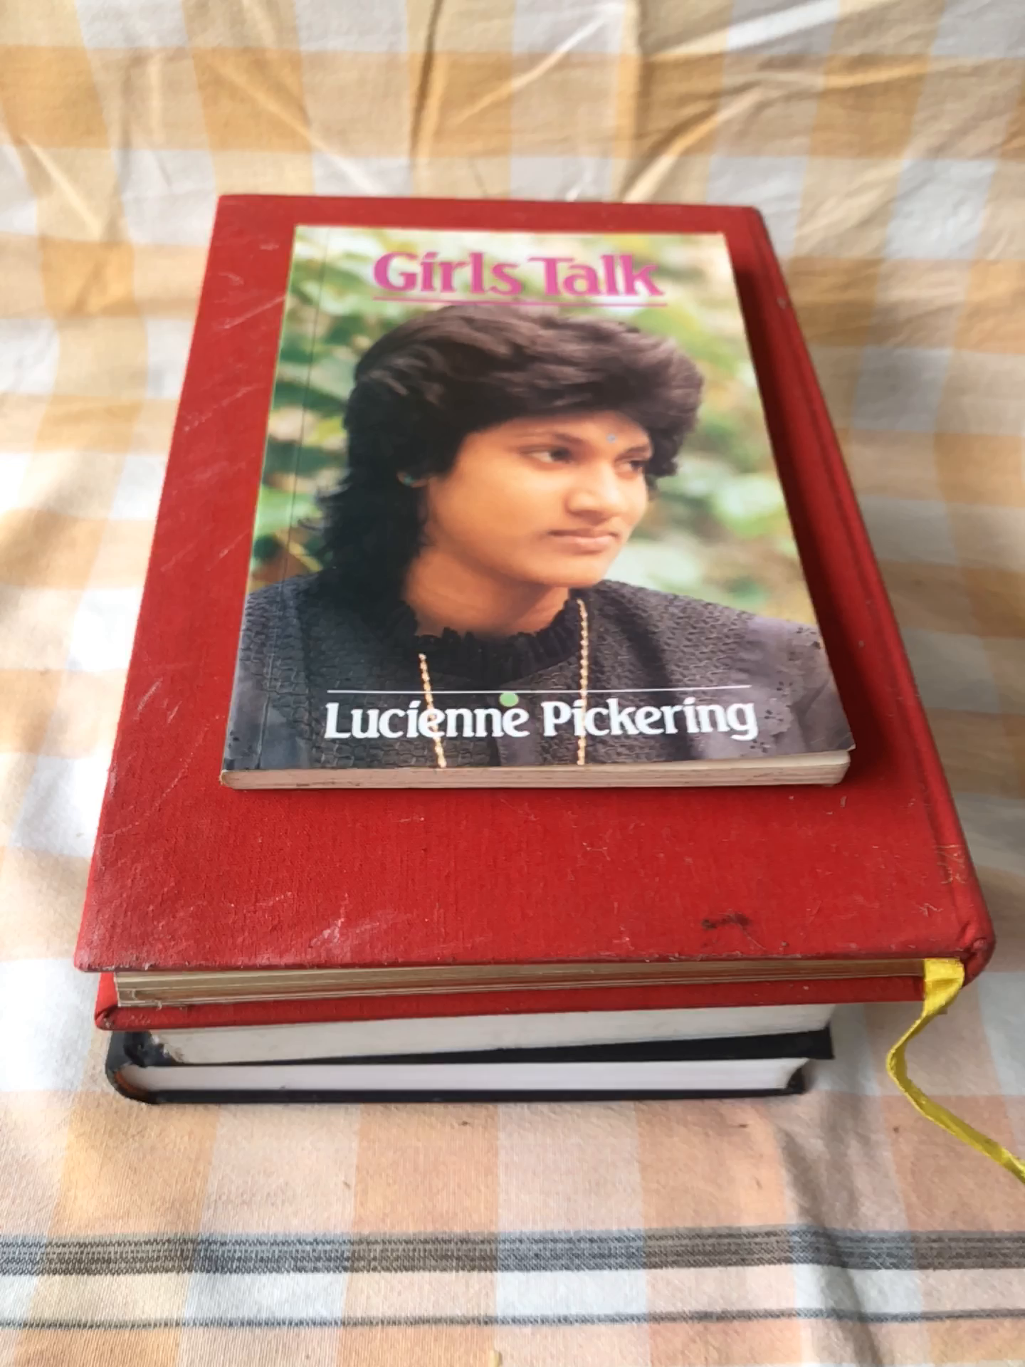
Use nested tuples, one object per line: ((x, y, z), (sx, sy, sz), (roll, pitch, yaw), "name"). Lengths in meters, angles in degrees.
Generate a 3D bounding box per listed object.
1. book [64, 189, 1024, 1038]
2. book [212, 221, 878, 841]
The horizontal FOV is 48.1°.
((0.001, -0.042, 0.291), (0.174, 0.031, 0.250), (-1, 53, -4), "book")
((0.003, -0.049, 0.286), (0.130, 0.025, 0.183), (0, 55, -4), "book")
